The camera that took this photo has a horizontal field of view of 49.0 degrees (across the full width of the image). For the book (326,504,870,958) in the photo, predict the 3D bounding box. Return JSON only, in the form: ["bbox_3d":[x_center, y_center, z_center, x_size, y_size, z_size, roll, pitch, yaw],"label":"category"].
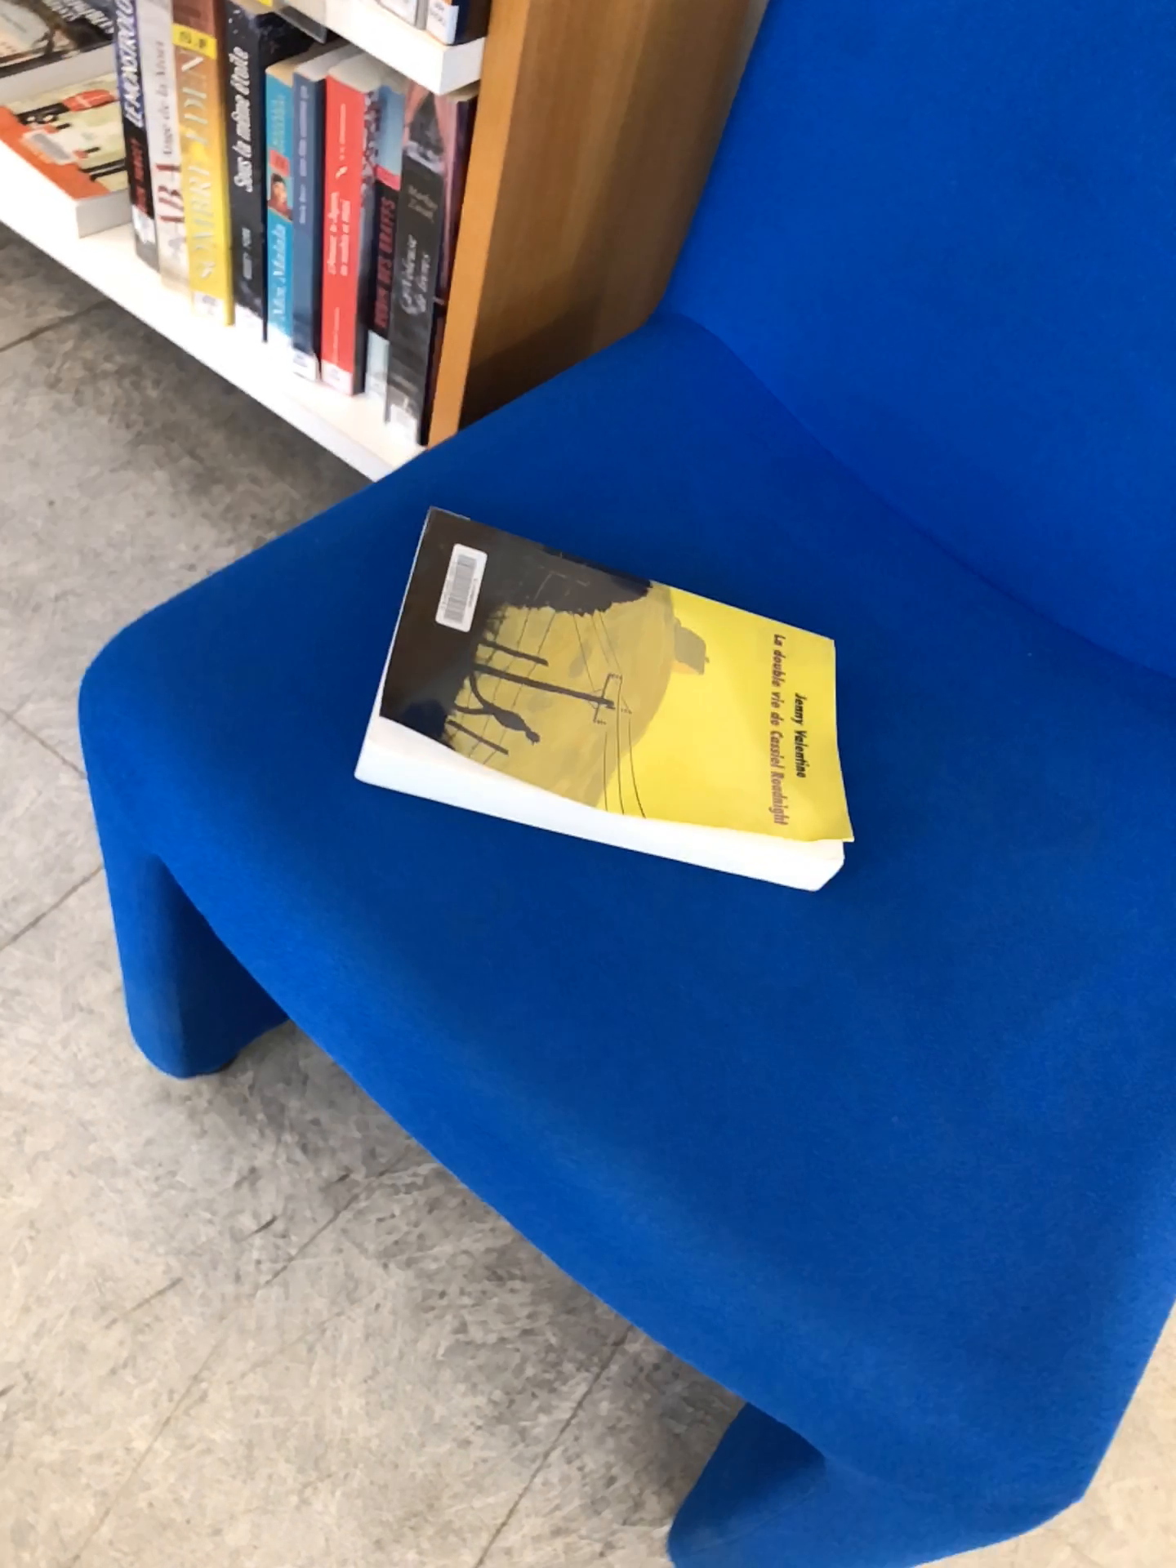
[{"bbox_3d":[0.014,-0.025,0.555,0.214,0.040,0.146,17,52,-9],"label":"book"}]
